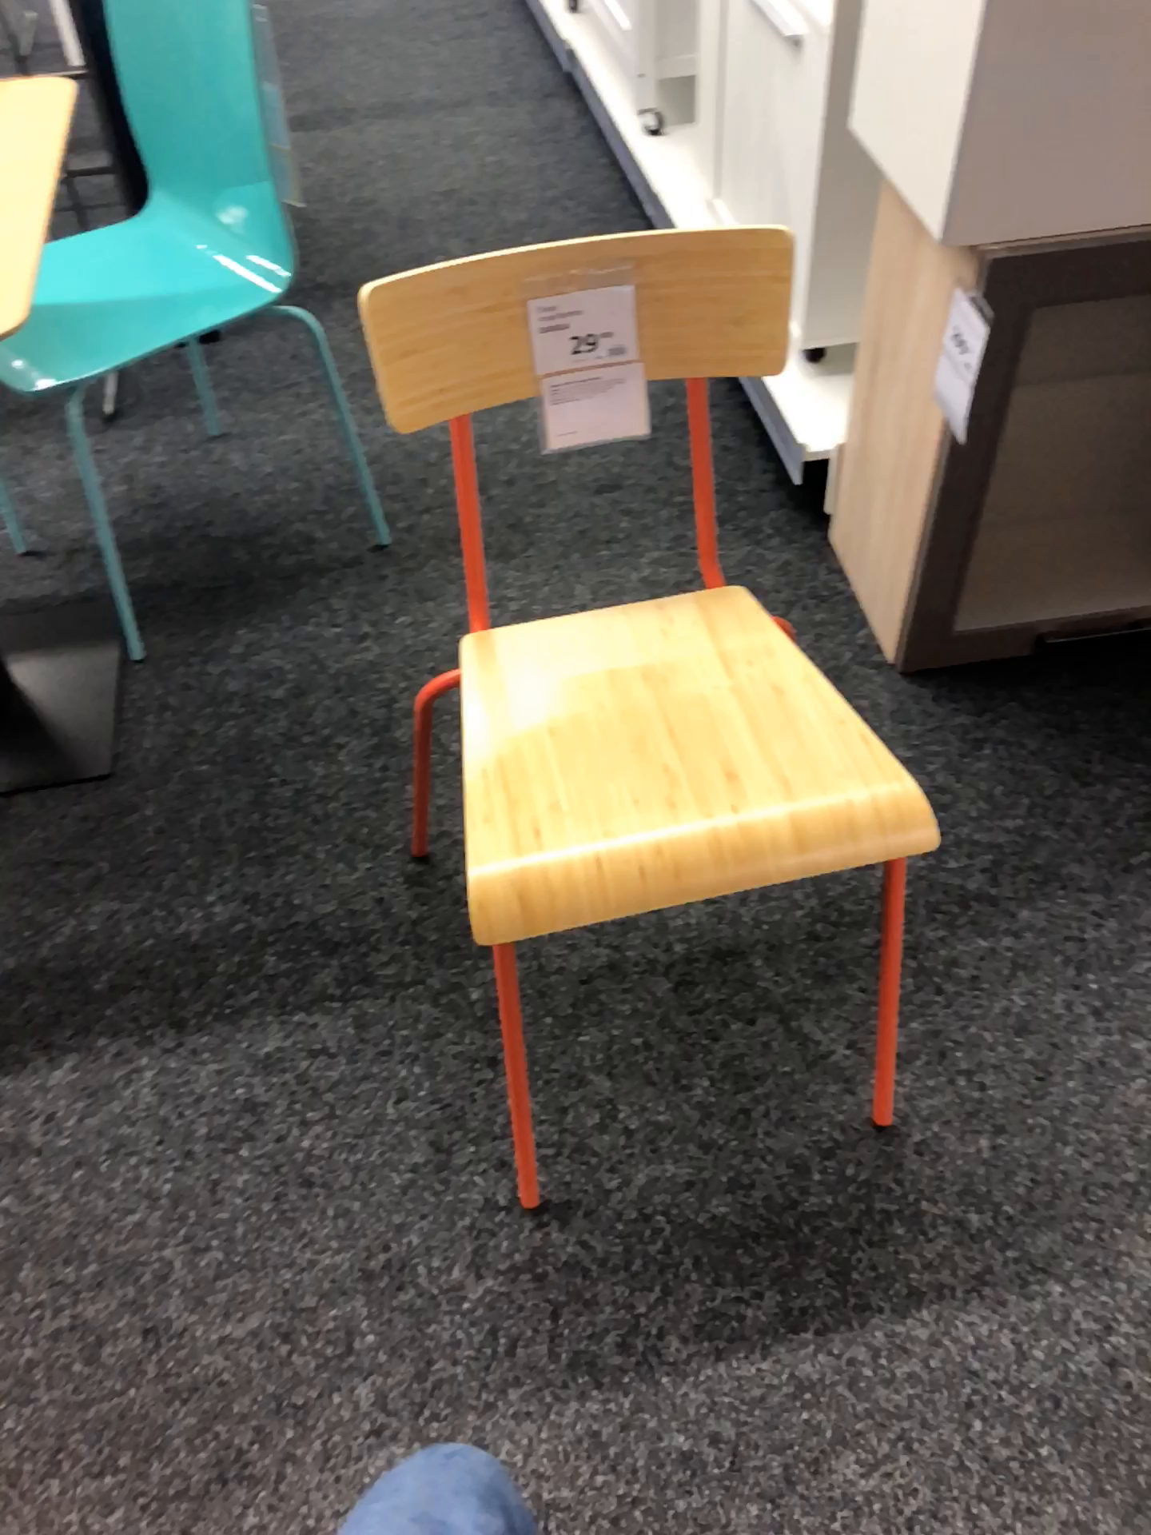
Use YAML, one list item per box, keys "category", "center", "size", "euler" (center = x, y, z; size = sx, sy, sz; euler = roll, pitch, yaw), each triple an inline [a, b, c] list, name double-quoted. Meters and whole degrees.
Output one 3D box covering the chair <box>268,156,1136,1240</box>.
- category: "chair"
  center: [0.055, -0.036, 1.224]
  size: [0.500, 0.816, 0.562]
  euler: [-11, 47, -7]
